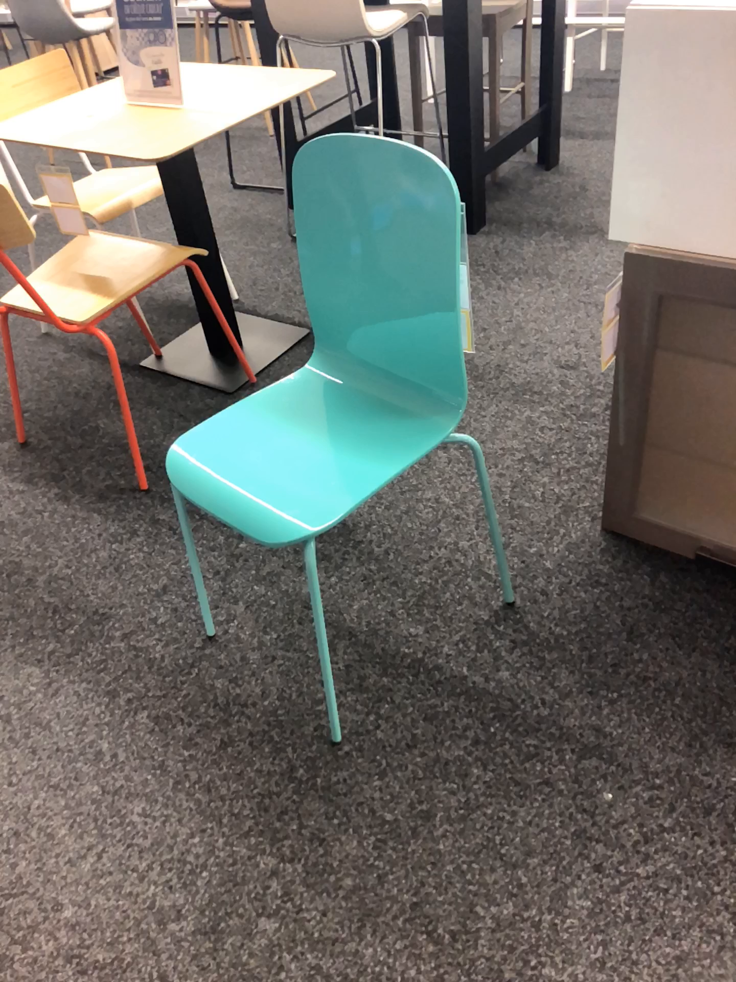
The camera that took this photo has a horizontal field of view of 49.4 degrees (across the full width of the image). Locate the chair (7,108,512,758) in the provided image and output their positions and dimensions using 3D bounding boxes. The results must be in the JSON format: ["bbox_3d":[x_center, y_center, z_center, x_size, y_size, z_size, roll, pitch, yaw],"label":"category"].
[{"bbox_3d":[-0.105,-0.099,1.372,0.491,0.865,0.502,28,51,36],"label":"chair"}]
